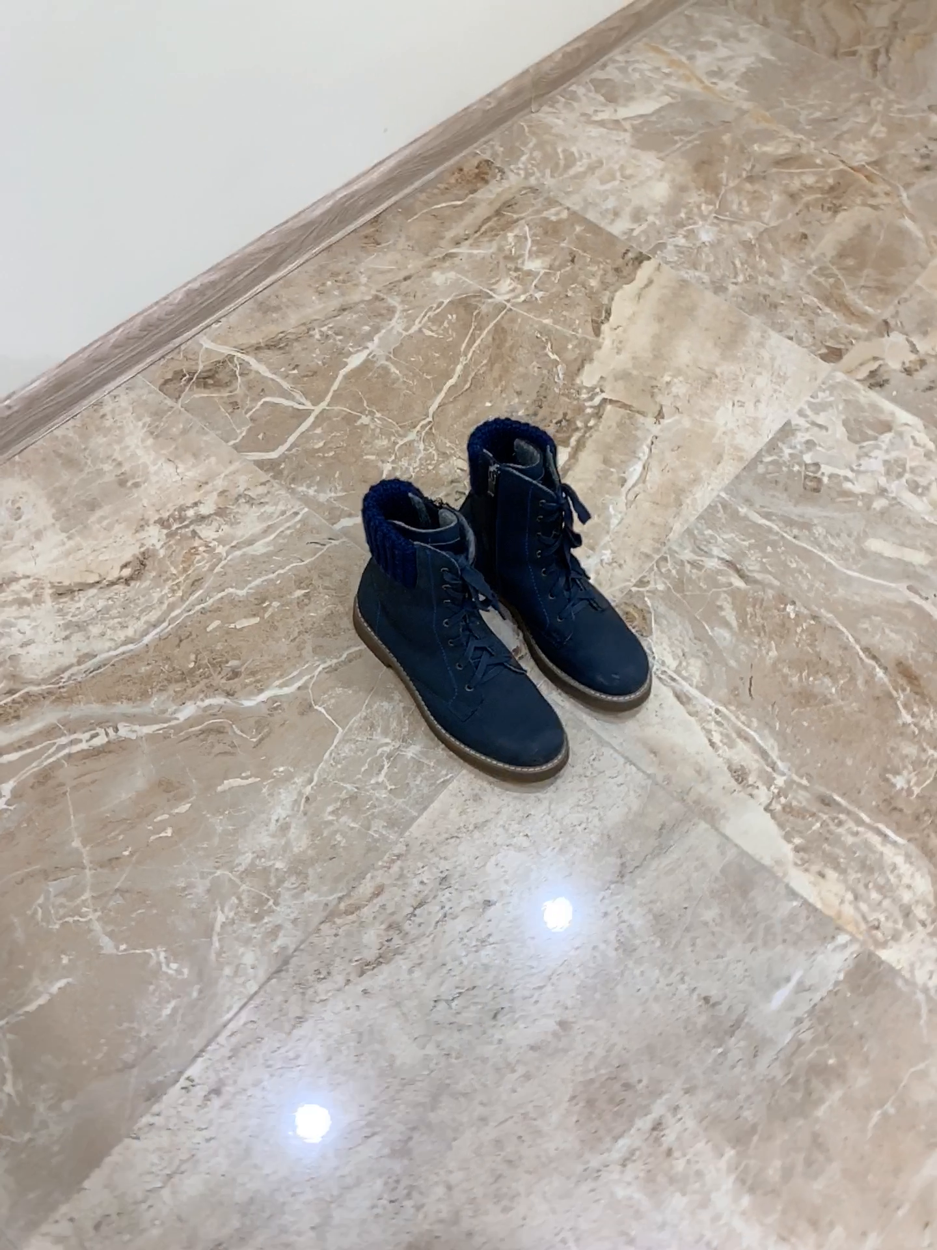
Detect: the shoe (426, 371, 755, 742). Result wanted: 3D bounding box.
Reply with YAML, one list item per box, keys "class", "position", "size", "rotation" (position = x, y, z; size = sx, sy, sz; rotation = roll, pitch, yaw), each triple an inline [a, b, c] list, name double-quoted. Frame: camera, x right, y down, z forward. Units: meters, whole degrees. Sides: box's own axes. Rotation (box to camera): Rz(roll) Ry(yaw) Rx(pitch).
- class: "shoe"
  position: [0.091, -0.056, 0.856]
  size: [0.101, 0.199, 0.260]
  rotation: [-37, 70, -23]

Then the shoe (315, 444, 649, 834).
- class: "shoe"
  position: [-0.002, 0.017, 0.804]
  size: [0.101, 0.199, 0.260]
  rotation: [-37, 70, -23]
